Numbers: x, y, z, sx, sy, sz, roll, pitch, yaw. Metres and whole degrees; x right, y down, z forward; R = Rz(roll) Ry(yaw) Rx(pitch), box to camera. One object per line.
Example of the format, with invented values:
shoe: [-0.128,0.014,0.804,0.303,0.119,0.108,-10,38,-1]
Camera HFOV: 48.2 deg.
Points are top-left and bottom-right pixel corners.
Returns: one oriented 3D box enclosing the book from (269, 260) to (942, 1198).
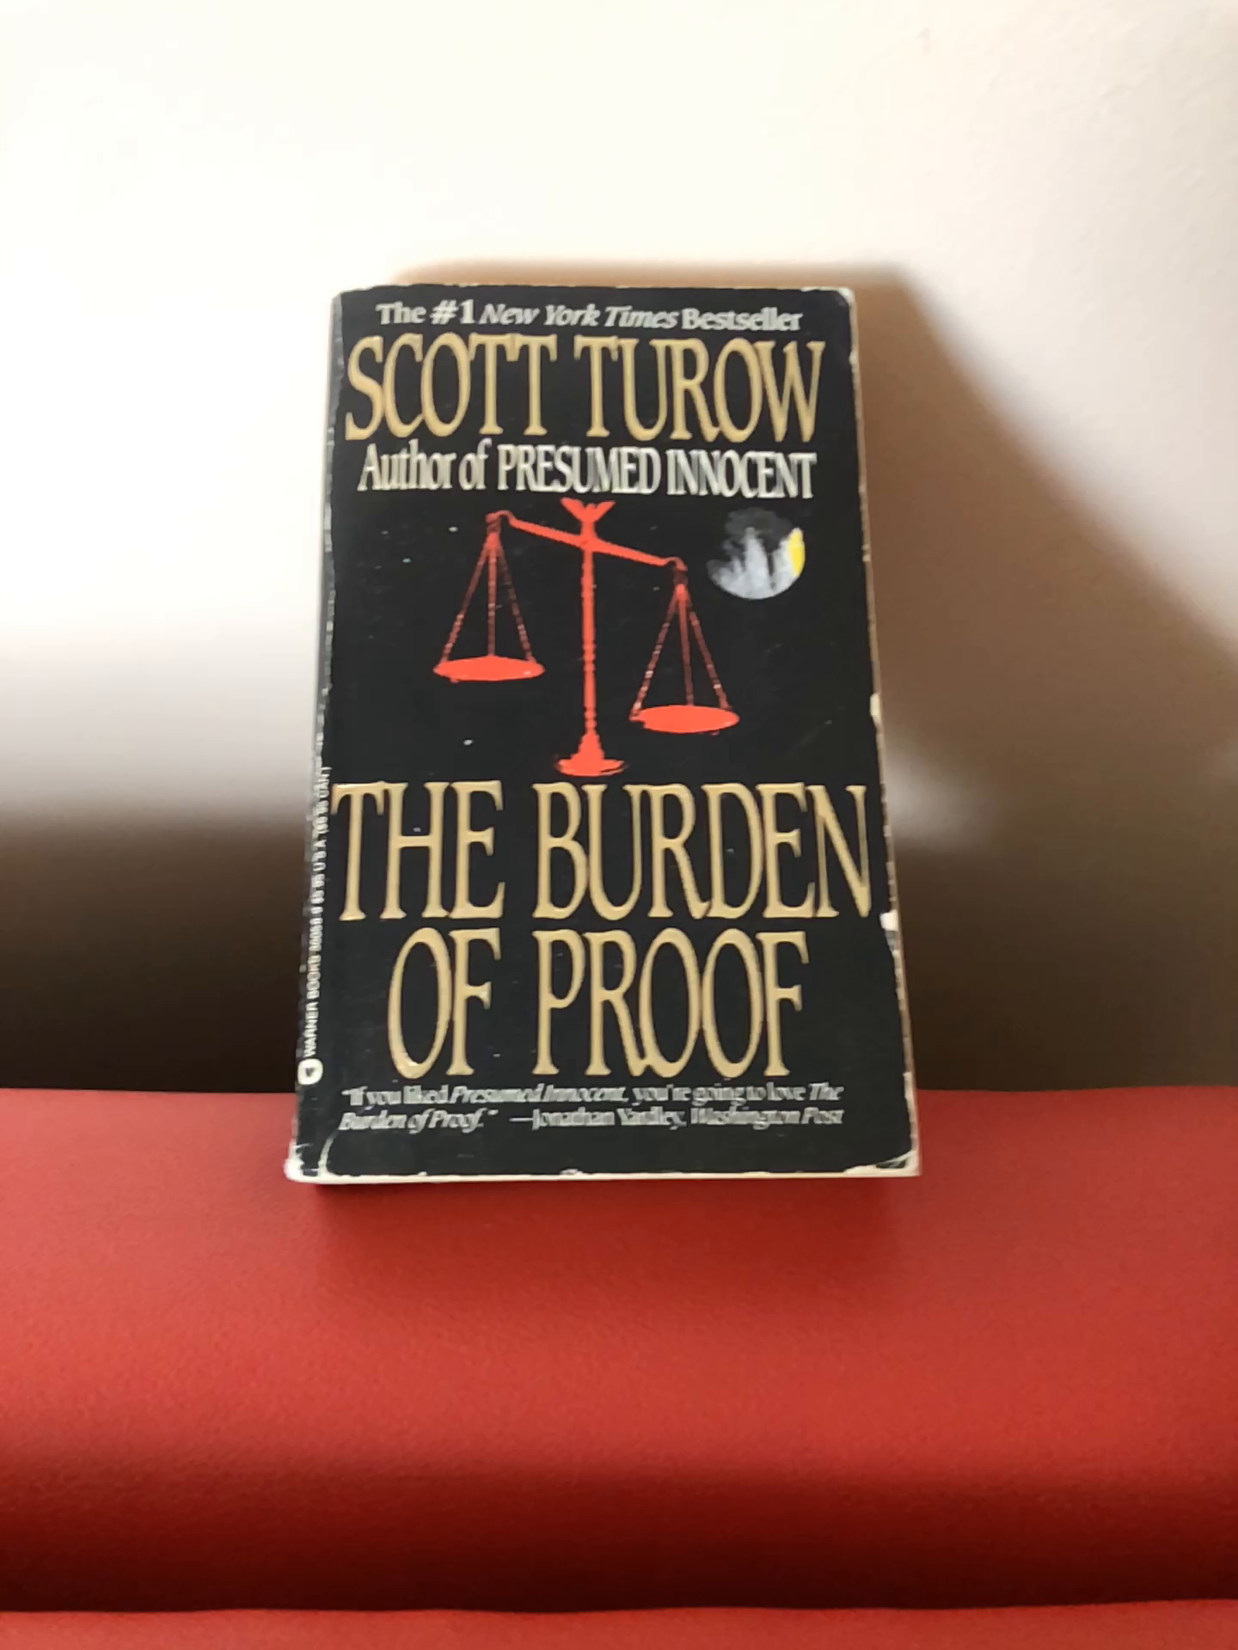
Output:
book: [-0.004,-0.019,0.263,0.106,0.045,0.171,0,73,-4]
